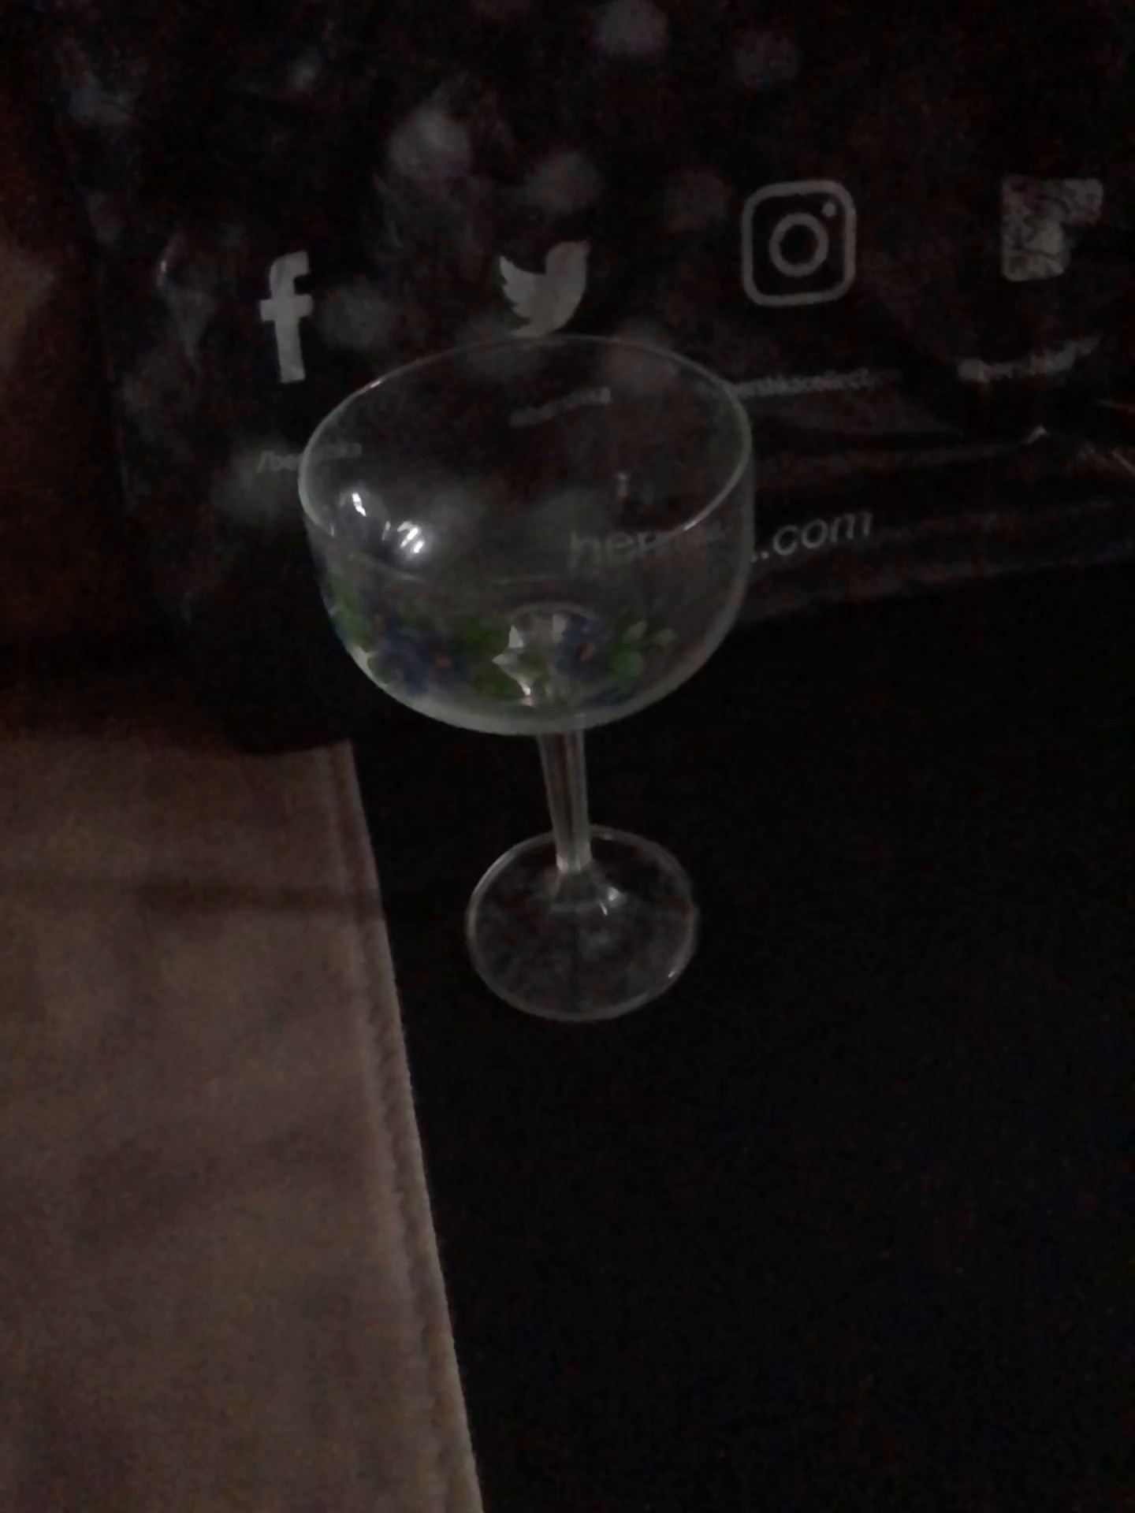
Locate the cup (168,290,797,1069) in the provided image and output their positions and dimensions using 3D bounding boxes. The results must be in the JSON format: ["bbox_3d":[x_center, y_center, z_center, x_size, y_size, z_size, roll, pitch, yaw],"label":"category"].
[{"bbox_3d":[-0.009,-0.013,0.290,0.096,0.147,0.085,11,49,13],"label":"cup"}]
